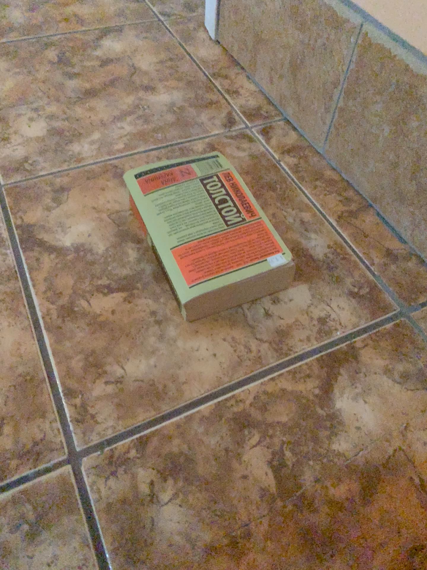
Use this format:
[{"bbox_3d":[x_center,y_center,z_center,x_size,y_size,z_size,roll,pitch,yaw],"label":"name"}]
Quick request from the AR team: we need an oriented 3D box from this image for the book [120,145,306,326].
[{"bbox_3d":[-0.008,-0.062,0.455,0.120,0.044,0.185,-19,57,-17],"label":"book"}]
